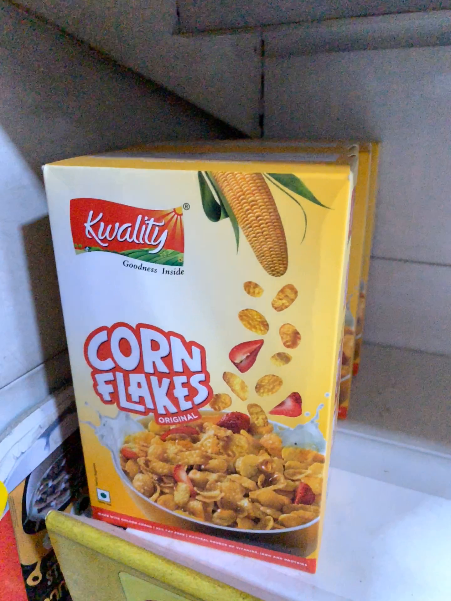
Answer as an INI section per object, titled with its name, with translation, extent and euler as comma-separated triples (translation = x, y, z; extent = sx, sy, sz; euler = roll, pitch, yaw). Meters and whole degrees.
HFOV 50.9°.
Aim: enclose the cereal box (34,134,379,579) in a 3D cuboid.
[cereal box]
translation = -0.003, 0.020, 0.215
extent = 0.120, 0.179, 0.060
euler = 5, 22, 15
